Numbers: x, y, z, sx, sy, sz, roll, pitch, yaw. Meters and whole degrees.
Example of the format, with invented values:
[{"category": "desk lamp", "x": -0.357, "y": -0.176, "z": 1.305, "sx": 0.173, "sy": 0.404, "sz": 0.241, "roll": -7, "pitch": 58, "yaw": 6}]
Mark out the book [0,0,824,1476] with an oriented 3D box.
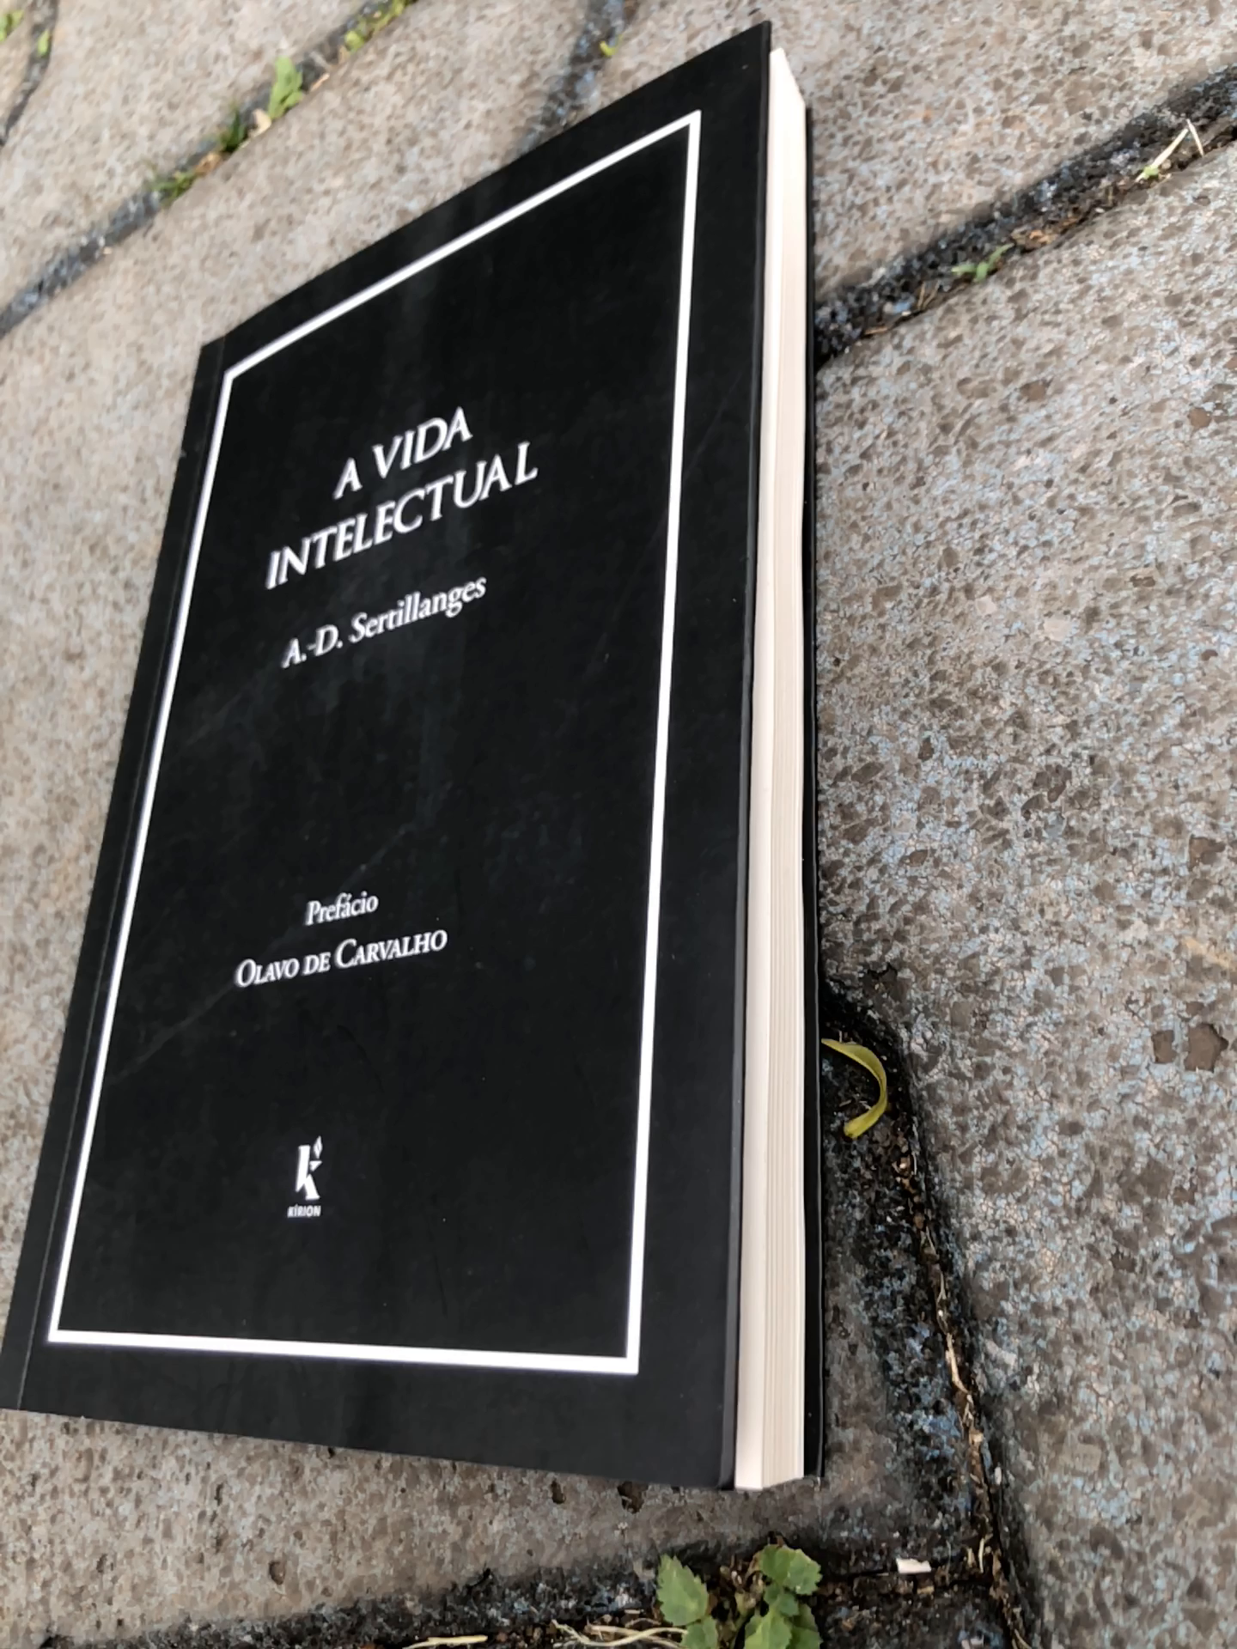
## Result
[{"category": "book", "x": -0.035, "y": -0.015, "z": 0.211, "sx": 0.136, "sy": 0.020, "sz": 0.196, "roll": -13, "pitch": 64, "yaw": 35}]
